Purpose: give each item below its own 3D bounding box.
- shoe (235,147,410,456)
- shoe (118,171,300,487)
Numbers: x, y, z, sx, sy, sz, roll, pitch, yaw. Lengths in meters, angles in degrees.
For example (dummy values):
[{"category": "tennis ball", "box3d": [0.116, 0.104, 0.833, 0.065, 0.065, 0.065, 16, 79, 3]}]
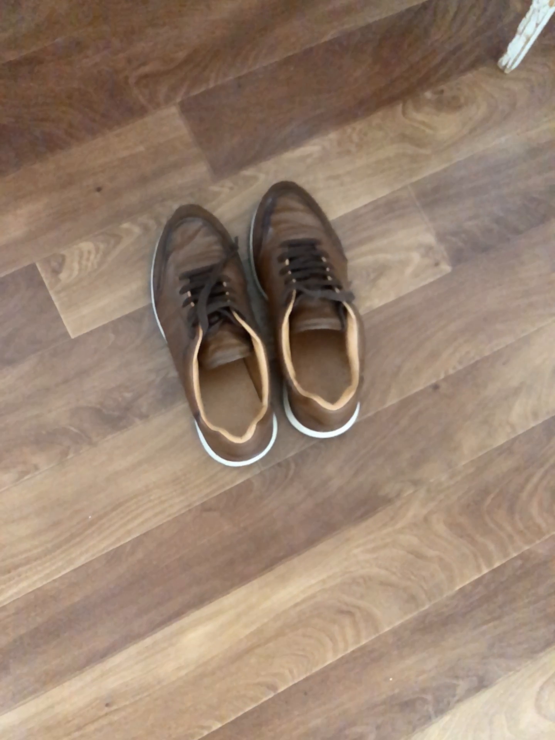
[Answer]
[{"category": "shoe", "box3d": [0.037, -0.064, 0.616, 0.110, 0.090, 0.280, -10, 84, -6]}, {"category": "shoe", "box3d": [-0.069, -0.038, 0.611, 0.100, 0.090, 0.280, -15, 84, -7]}]
